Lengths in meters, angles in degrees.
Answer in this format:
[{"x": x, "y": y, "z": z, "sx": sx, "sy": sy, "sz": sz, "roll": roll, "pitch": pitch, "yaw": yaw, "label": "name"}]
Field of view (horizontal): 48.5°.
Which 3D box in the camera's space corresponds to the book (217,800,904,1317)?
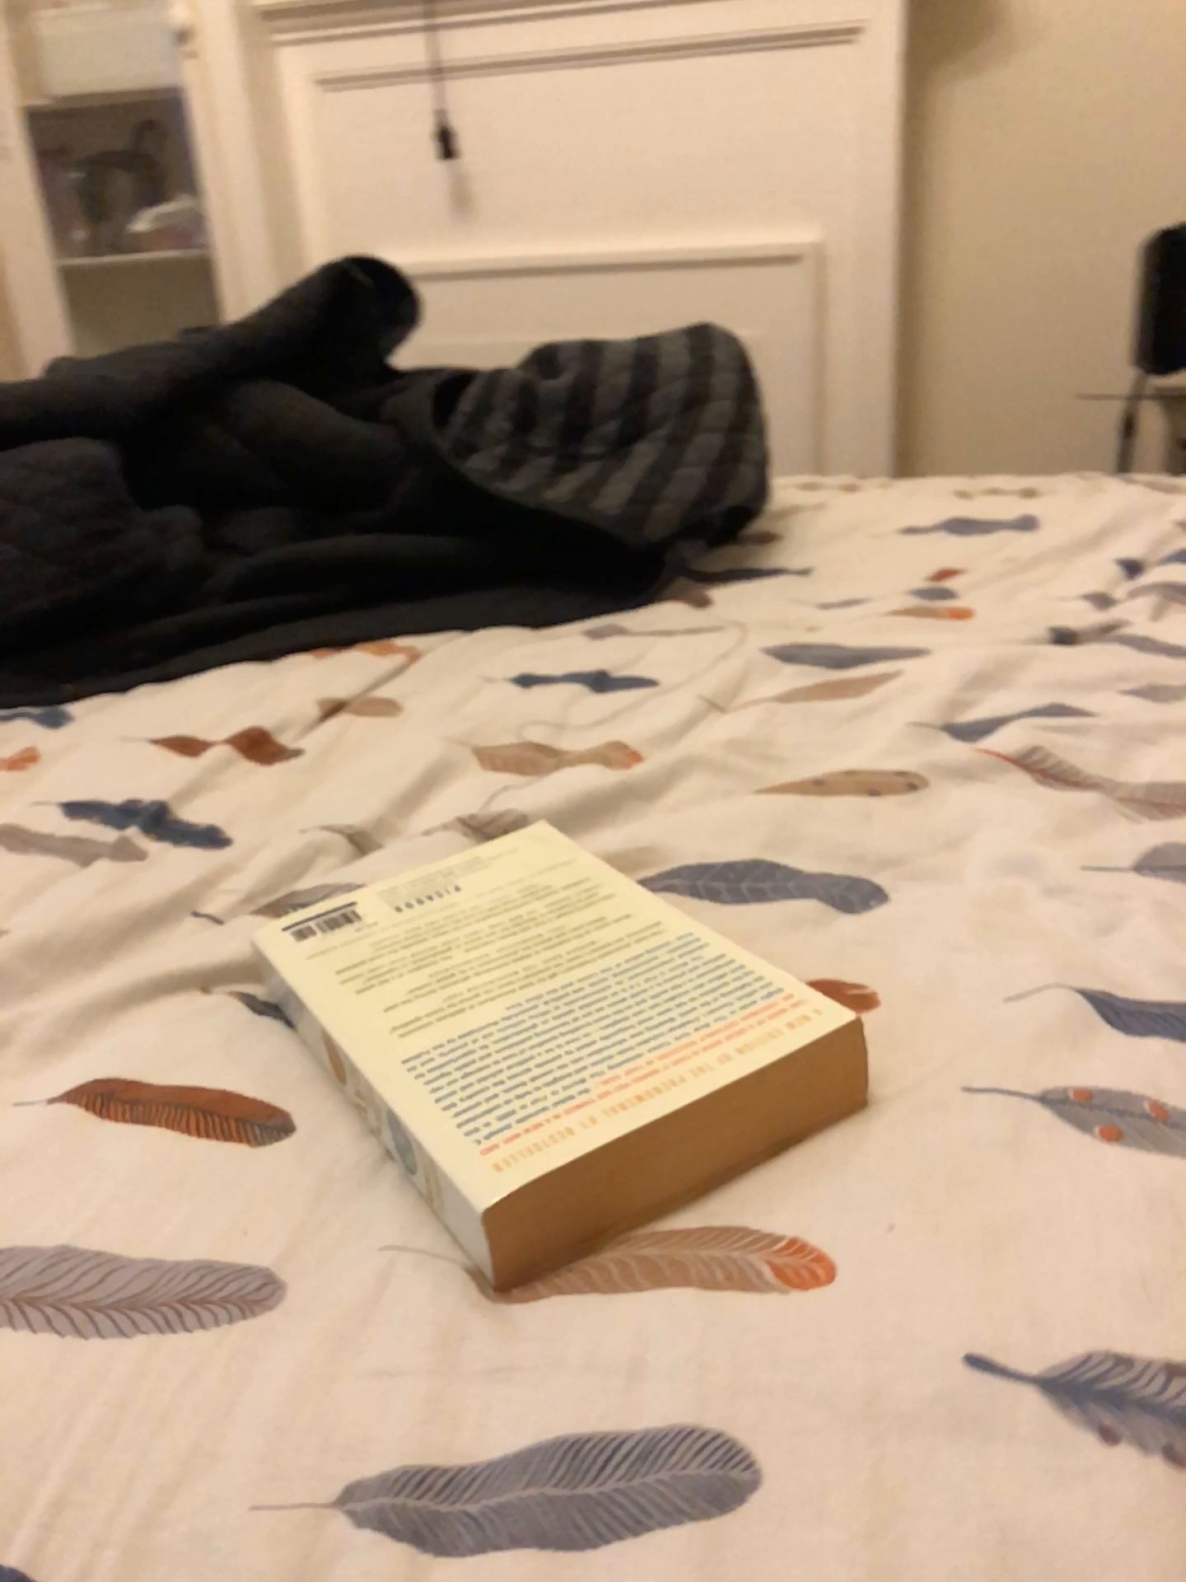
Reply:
[{"x": -0.023, "y": 0.074, "z": 0.476, "sx": 0.150, "sy": 0.040, "sz": 0.221, "roll": -16, "pitch": 26, "yaw": -30, "label": "book"}]
